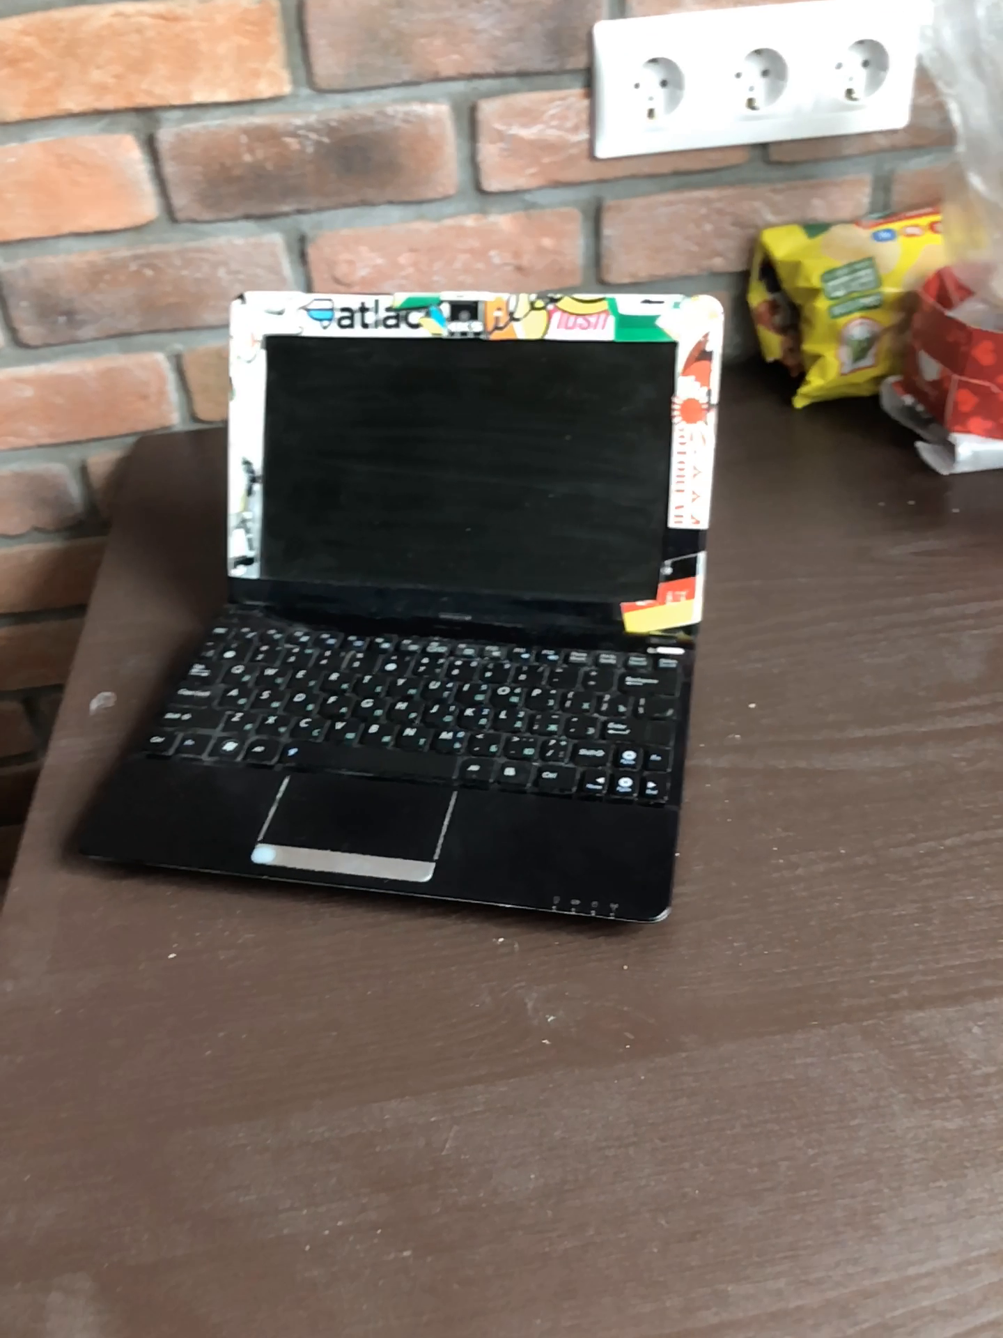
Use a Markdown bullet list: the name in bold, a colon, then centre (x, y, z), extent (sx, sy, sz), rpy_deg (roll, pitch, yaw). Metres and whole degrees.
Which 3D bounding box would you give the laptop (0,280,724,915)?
- **laptop**: centre (-0.043, -0.057, 0.510), extent (0.257, 0.139, 0.269), rpy_deg (5, 40, 12)
